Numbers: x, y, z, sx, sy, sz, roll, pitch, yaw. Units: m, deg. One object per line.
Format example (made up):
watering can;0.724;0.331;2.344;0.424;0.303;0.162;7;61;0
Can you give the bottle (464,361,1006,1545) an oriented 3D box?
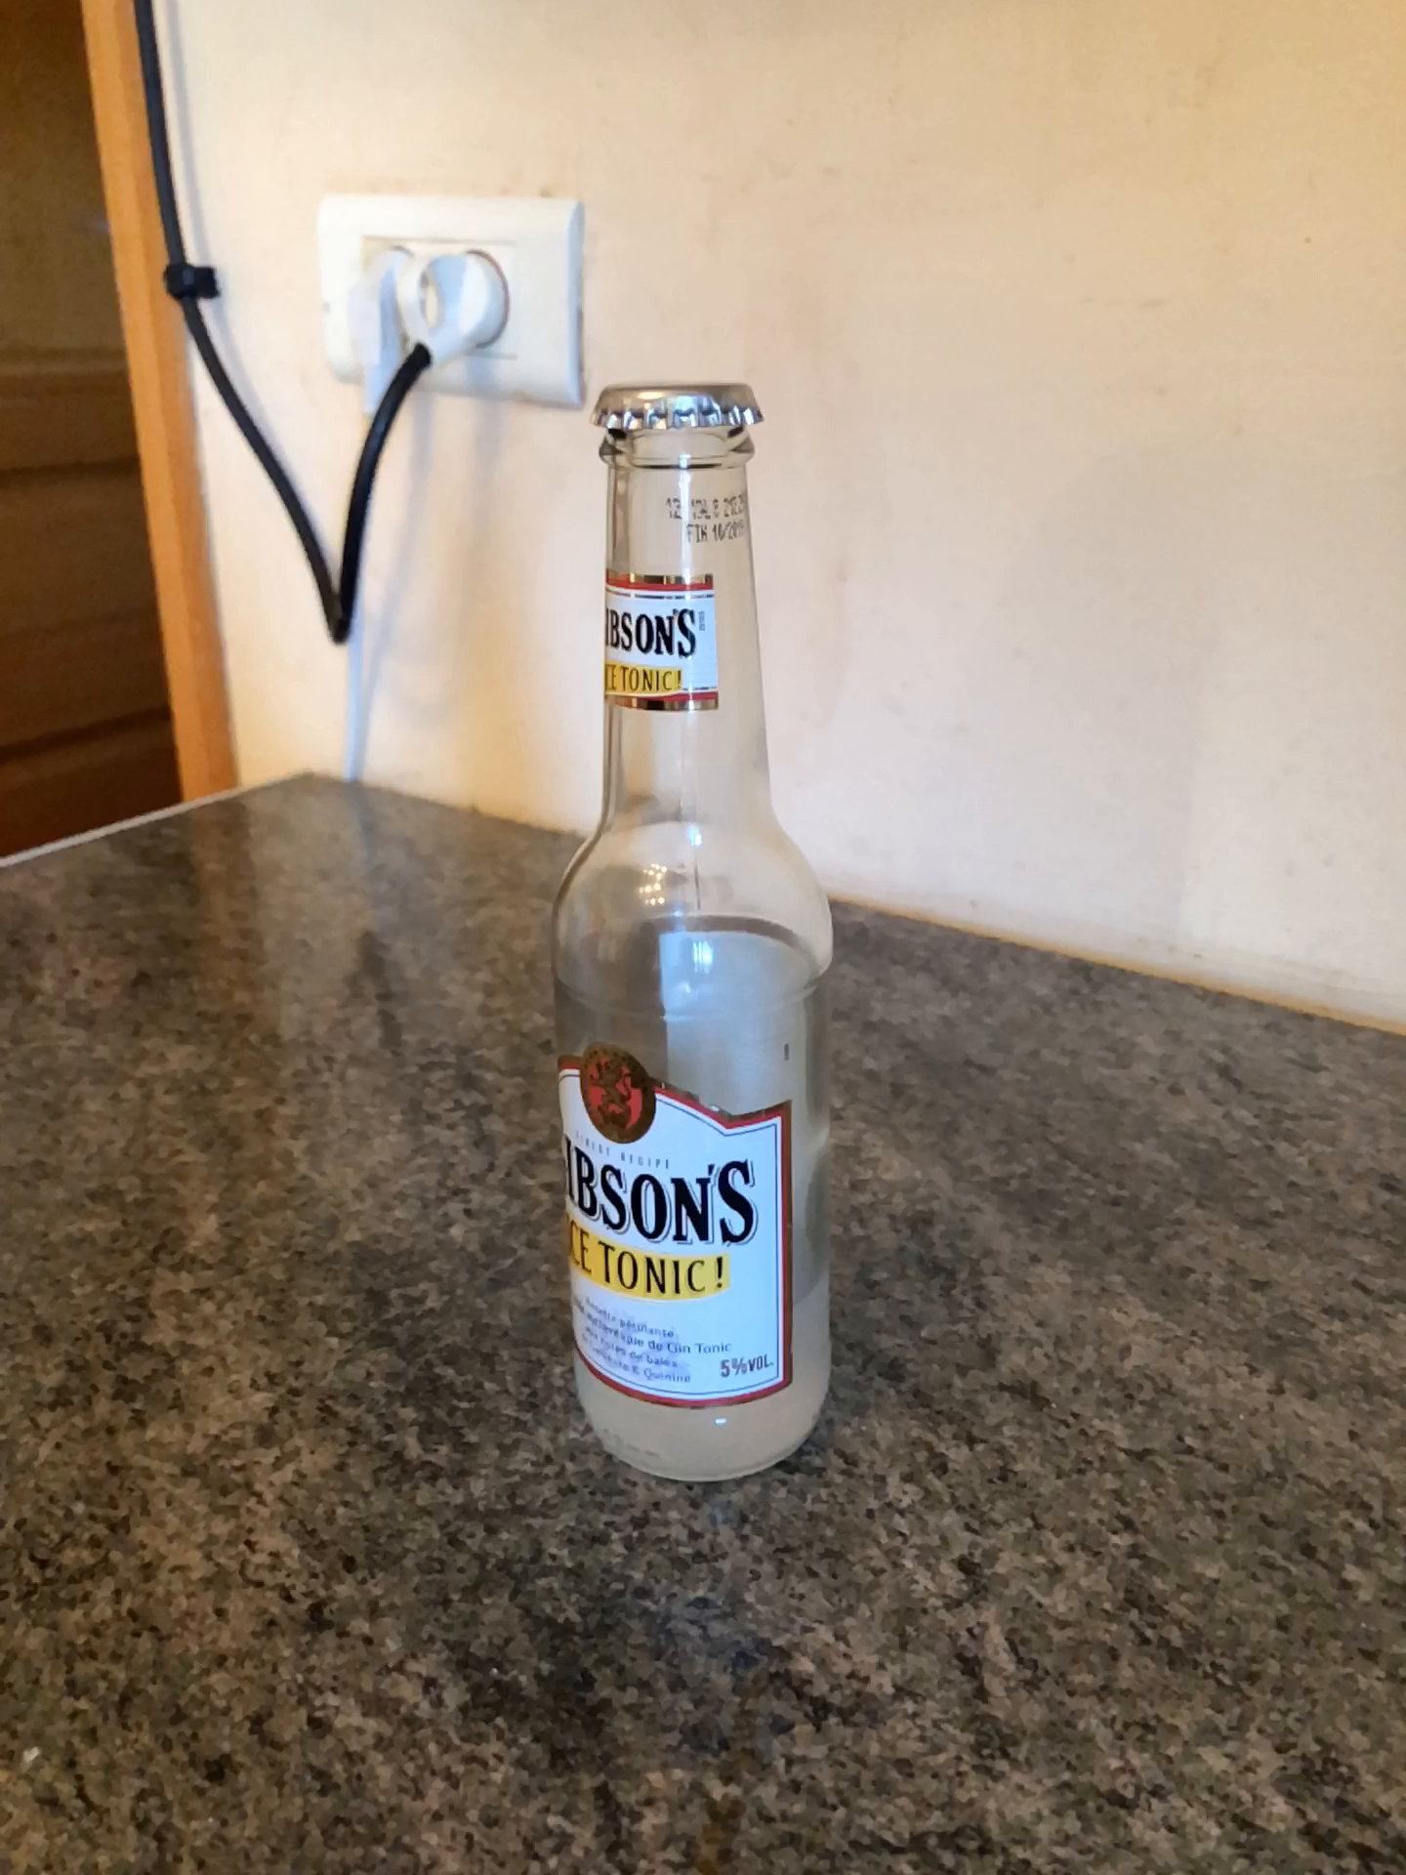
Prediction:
bottle;0.007;0.001;0.300;0.070;0.209;0.060;13;25;31
